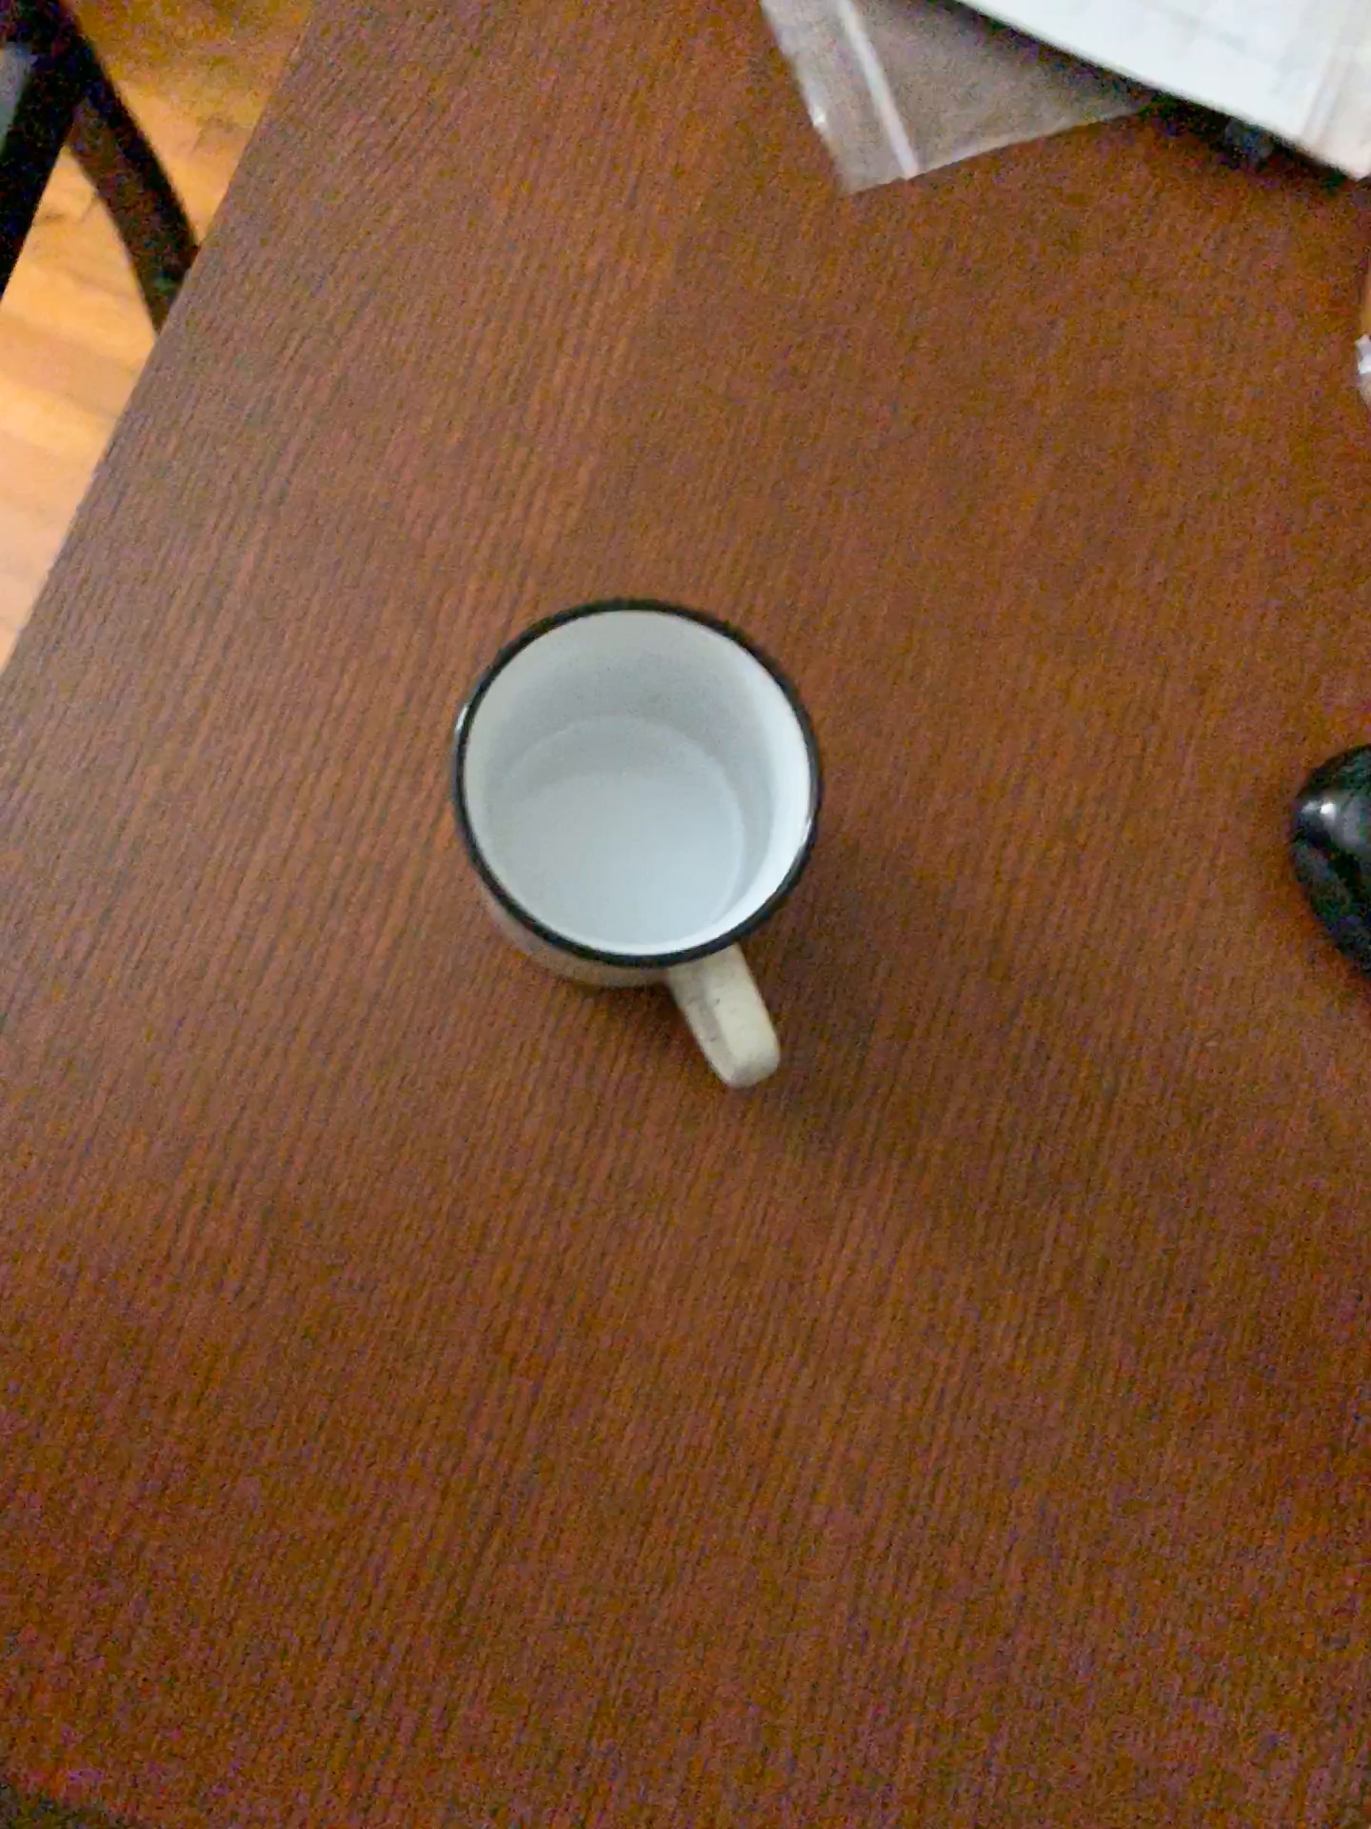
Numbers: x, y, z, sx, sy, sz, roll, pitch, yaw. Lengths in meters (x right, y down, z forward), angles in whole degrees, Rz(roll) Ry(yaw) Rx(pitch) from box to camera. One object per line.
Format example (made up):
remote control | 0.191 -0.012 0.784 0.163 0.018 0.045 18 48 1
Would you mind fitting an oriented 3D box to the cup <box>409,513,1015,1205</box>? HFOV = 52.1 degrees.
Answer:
cup | 0.001 -0.010 0.402 0.100 0.100 0.150 -24 84 -10
